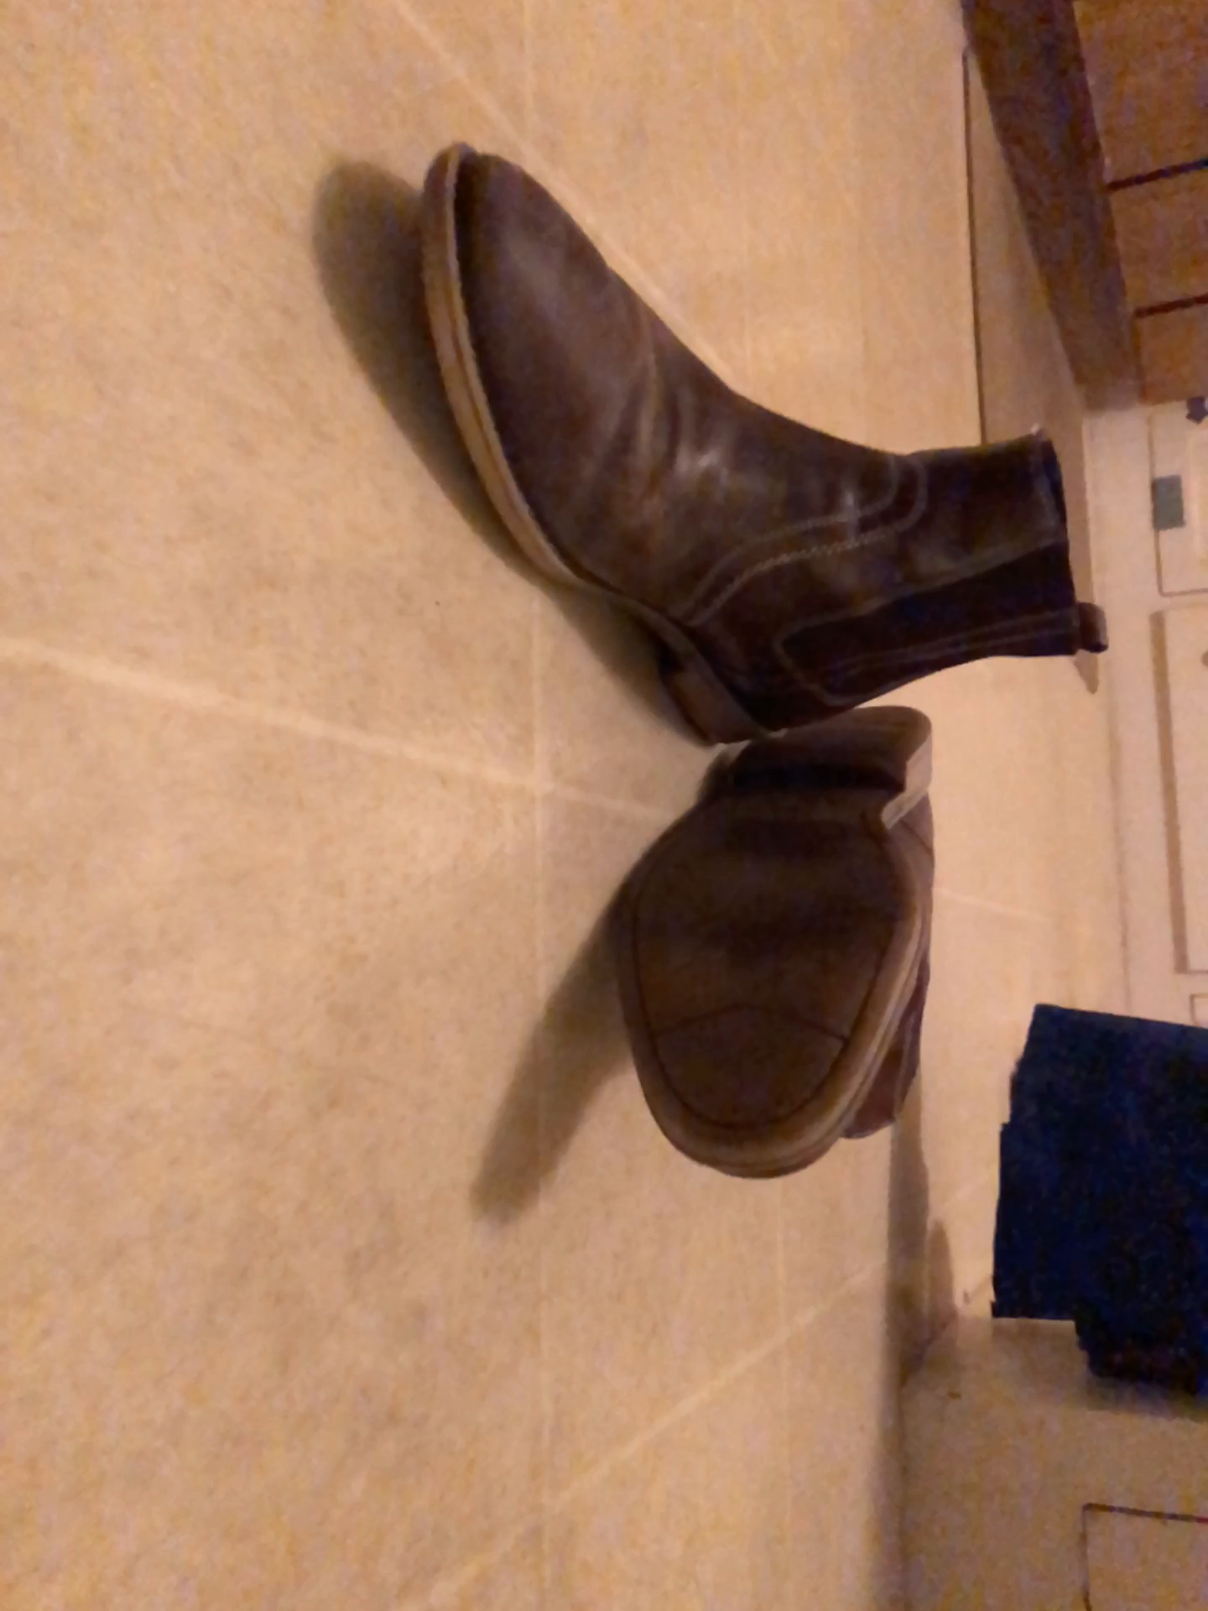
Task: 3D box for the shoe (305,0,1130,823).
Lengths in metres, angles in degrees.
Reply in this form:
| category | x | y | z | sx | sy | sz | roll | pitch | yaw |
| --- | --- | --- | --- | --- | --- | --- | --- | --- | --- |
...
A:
| category | x | y | z | sx | sy | sz | roll | pitch | yaw |
| --- | --- | --- | --- | --- | --- | --- | --- | --- | --- |
| shoe | 0.071 | -0.116 | 0.448 | 0.314 | 0.160 | 0.111 | 46 | 46 | -53 |

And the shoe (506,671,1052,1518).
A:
| category | x | y | z | sx | sy | sz | roll | pitch | yaw |
| --- | --- | --- | --- | --- | --- | --- | --- | --- | --- |
| shoe | 0.097 | 0.080 | 0.529 | 0.315 | 0.111 | 0.161 | -48 | 130 | -56 |
